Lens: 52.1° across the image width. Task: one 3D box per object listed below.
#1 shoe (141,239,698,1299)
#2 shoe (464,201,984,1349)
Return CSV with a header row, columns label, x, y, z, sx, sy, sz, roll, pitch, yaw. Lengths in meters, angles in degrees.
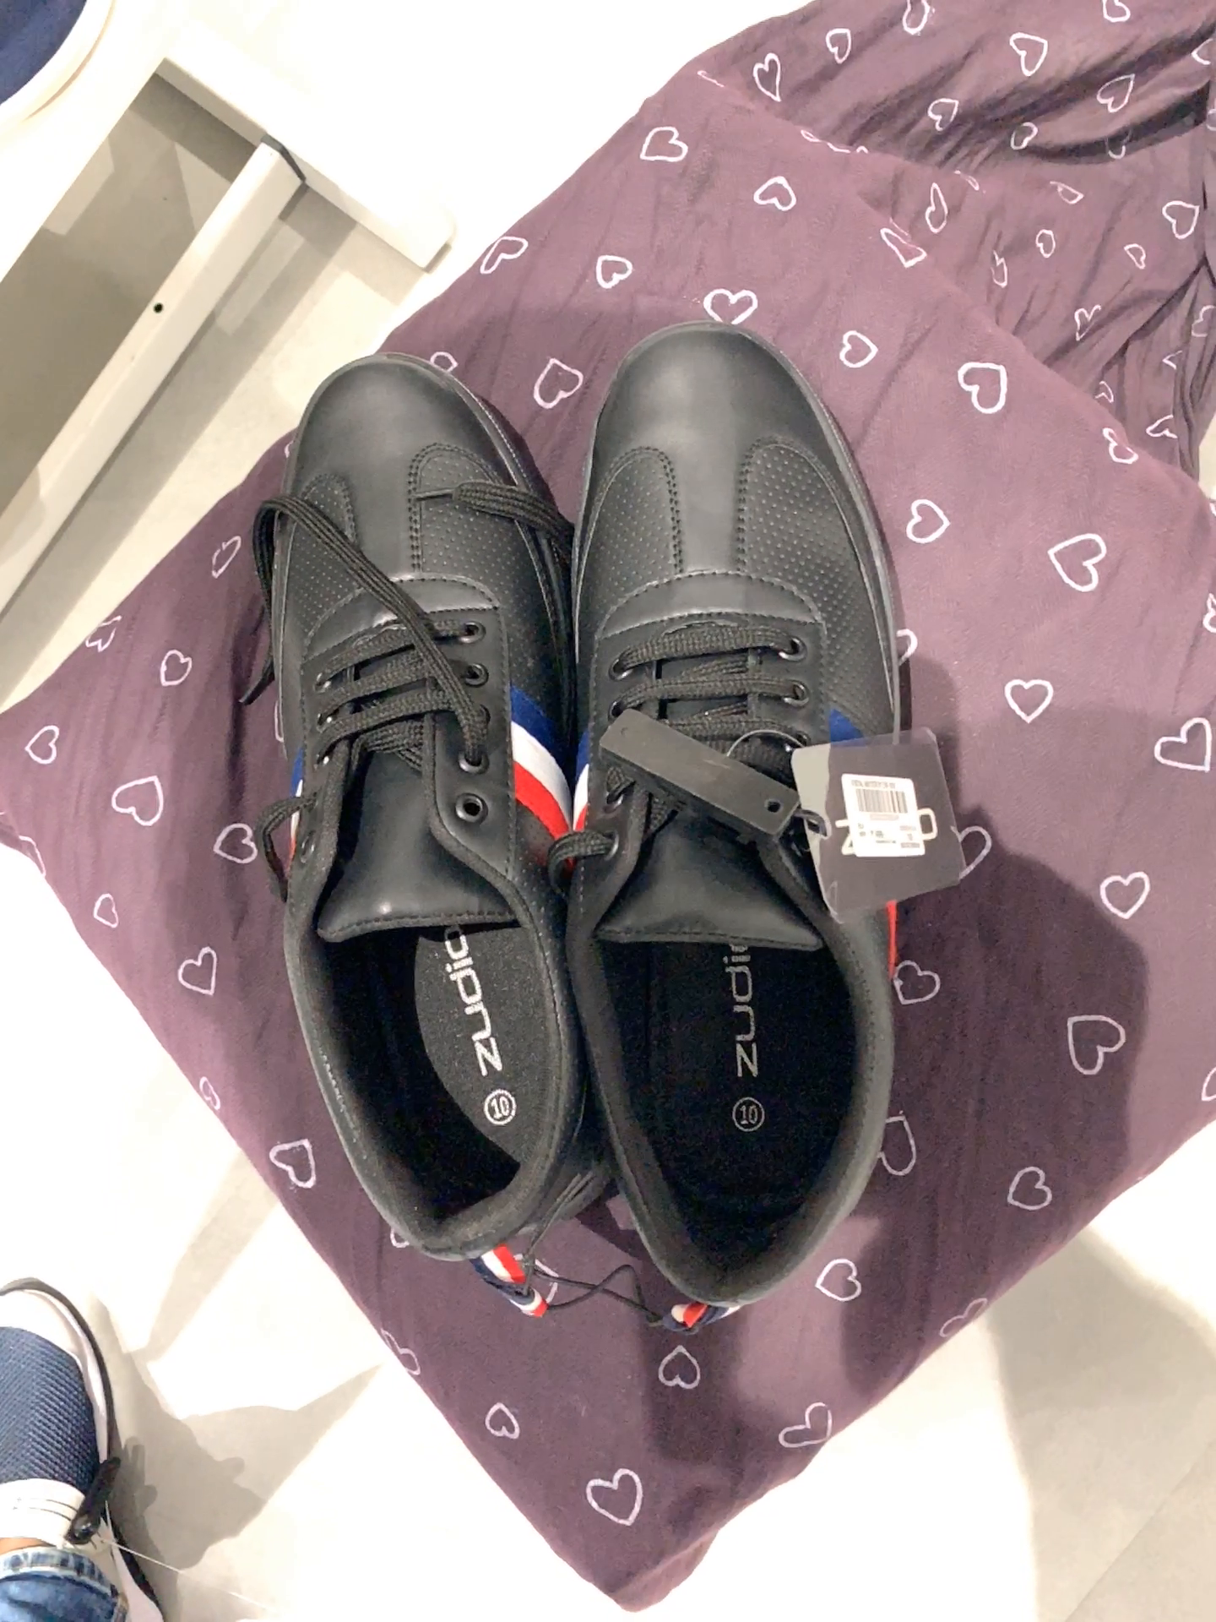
label,x,y,z,sx,sy,sz,roll,pitch,yaw
shoe,-0.062,-0.013,0.425,0.120,0.090,0.310,-12,81,9
shoe,0.032,-0.010,0.373,0.110,0.080,0.300,-7,82,10
